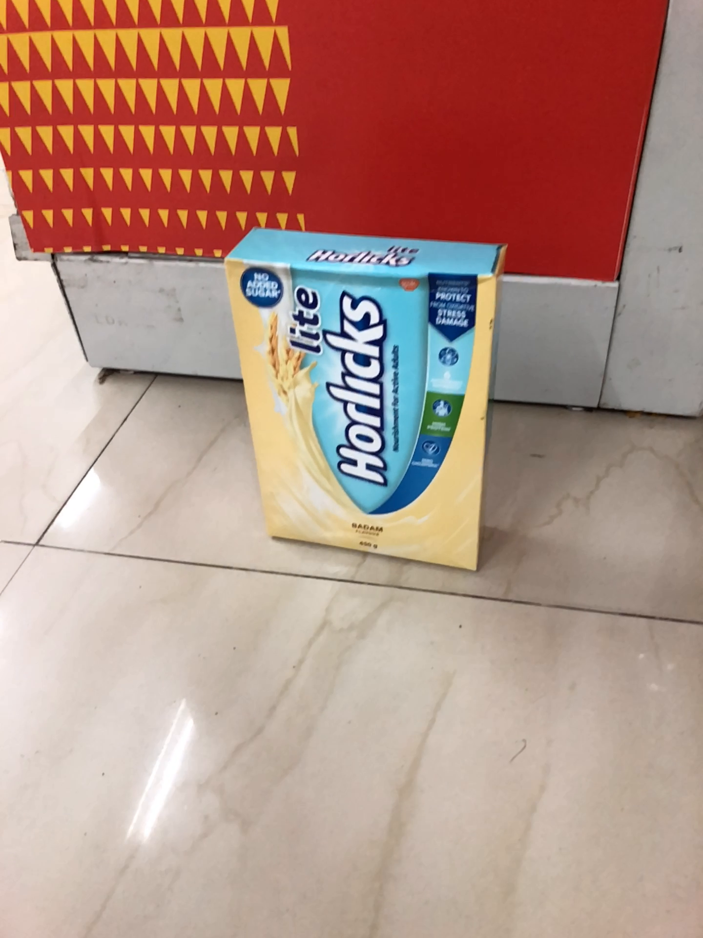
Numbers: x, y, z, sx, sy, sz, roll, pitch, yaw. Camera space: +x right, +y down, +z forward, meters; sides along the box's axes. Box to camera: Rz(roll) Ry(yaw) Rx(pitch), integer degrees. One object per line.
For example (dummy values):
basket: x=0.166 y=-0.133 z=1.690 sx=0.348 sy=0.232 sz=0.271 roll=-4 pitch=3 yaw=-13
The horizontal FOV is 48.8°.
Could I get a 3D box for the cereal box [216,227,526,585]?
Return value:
cereal box: x=0.013 y=-0.033 z=0.447 sx=0.150 sy=0.189 sz=0.050 roll=8 pitch=35 yaw=14
